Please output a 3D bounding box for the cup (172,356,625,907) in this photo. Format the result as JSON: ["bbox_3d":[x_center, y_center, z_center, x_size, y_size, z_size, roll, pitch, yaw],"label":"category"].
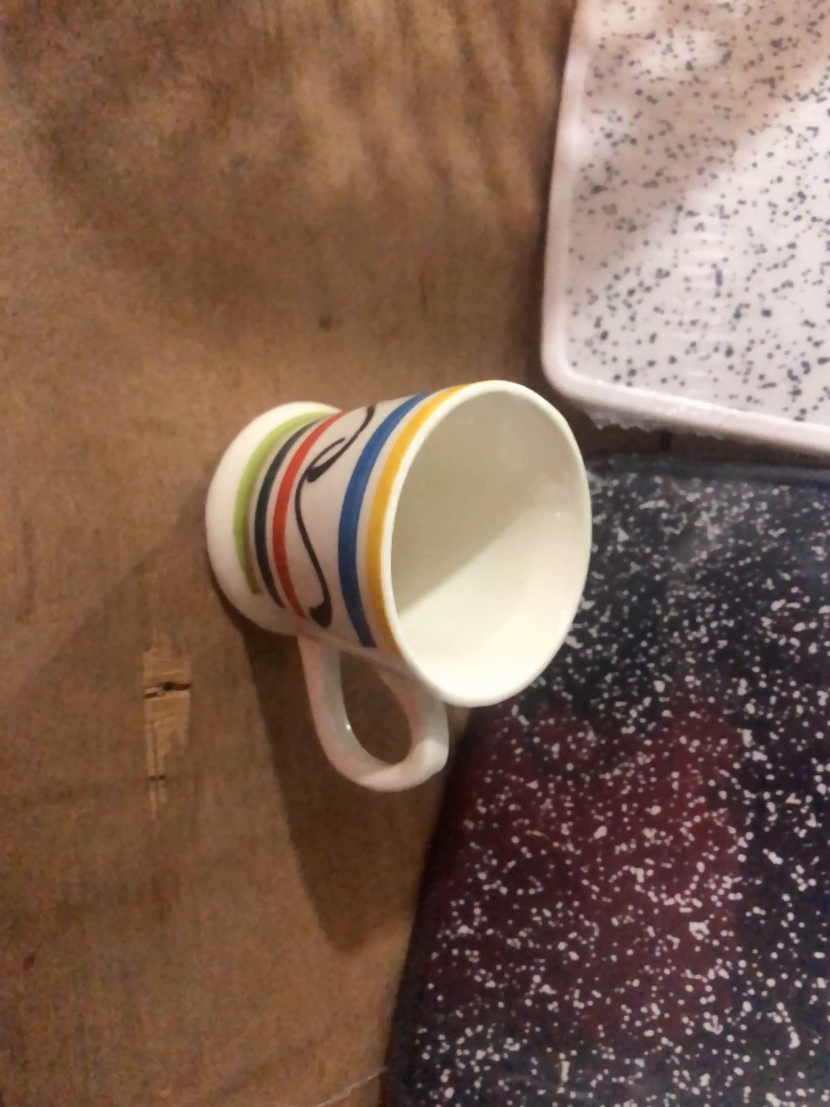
[{"bbox_3d":[-0.006,0.011,0.218,0.061,0.079,0.100,1,95,-45],"label":"cup"}]
